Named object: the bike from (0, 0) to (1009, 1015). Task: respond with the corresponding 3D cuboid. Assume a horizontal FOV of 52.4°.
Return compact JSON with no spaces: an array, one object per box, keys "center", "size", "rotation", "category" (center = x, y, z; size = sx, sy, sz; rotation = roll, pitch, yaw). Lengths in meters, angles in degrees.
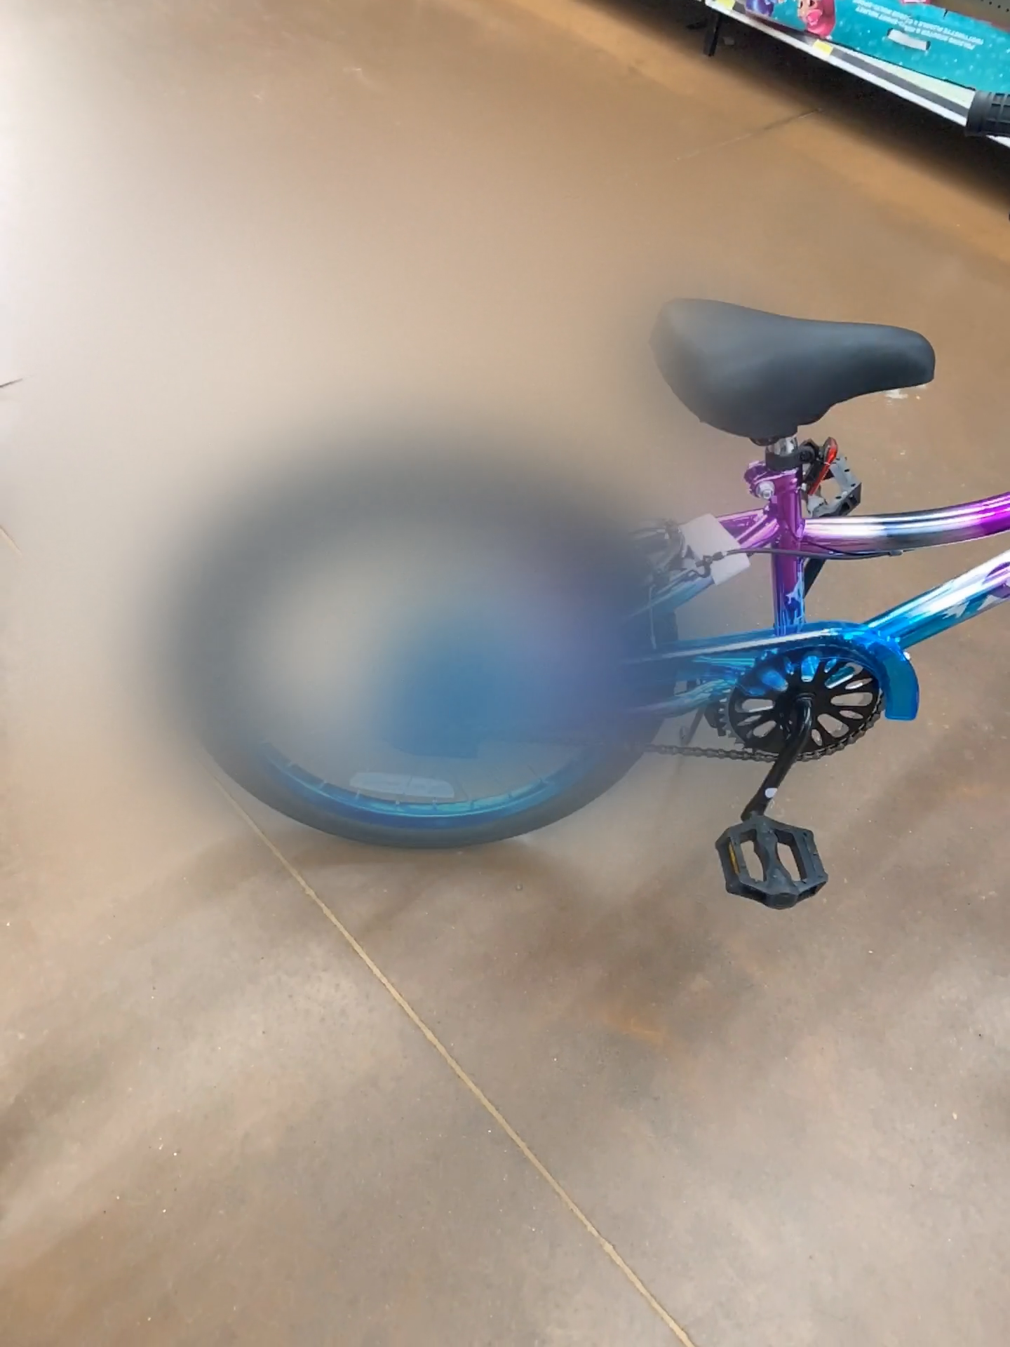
[{"center":[0.291,-0.247,0.959],"size":[1.120,0.877,0.622],"rotation":[-3,51,-13],"category":"bike"}]
